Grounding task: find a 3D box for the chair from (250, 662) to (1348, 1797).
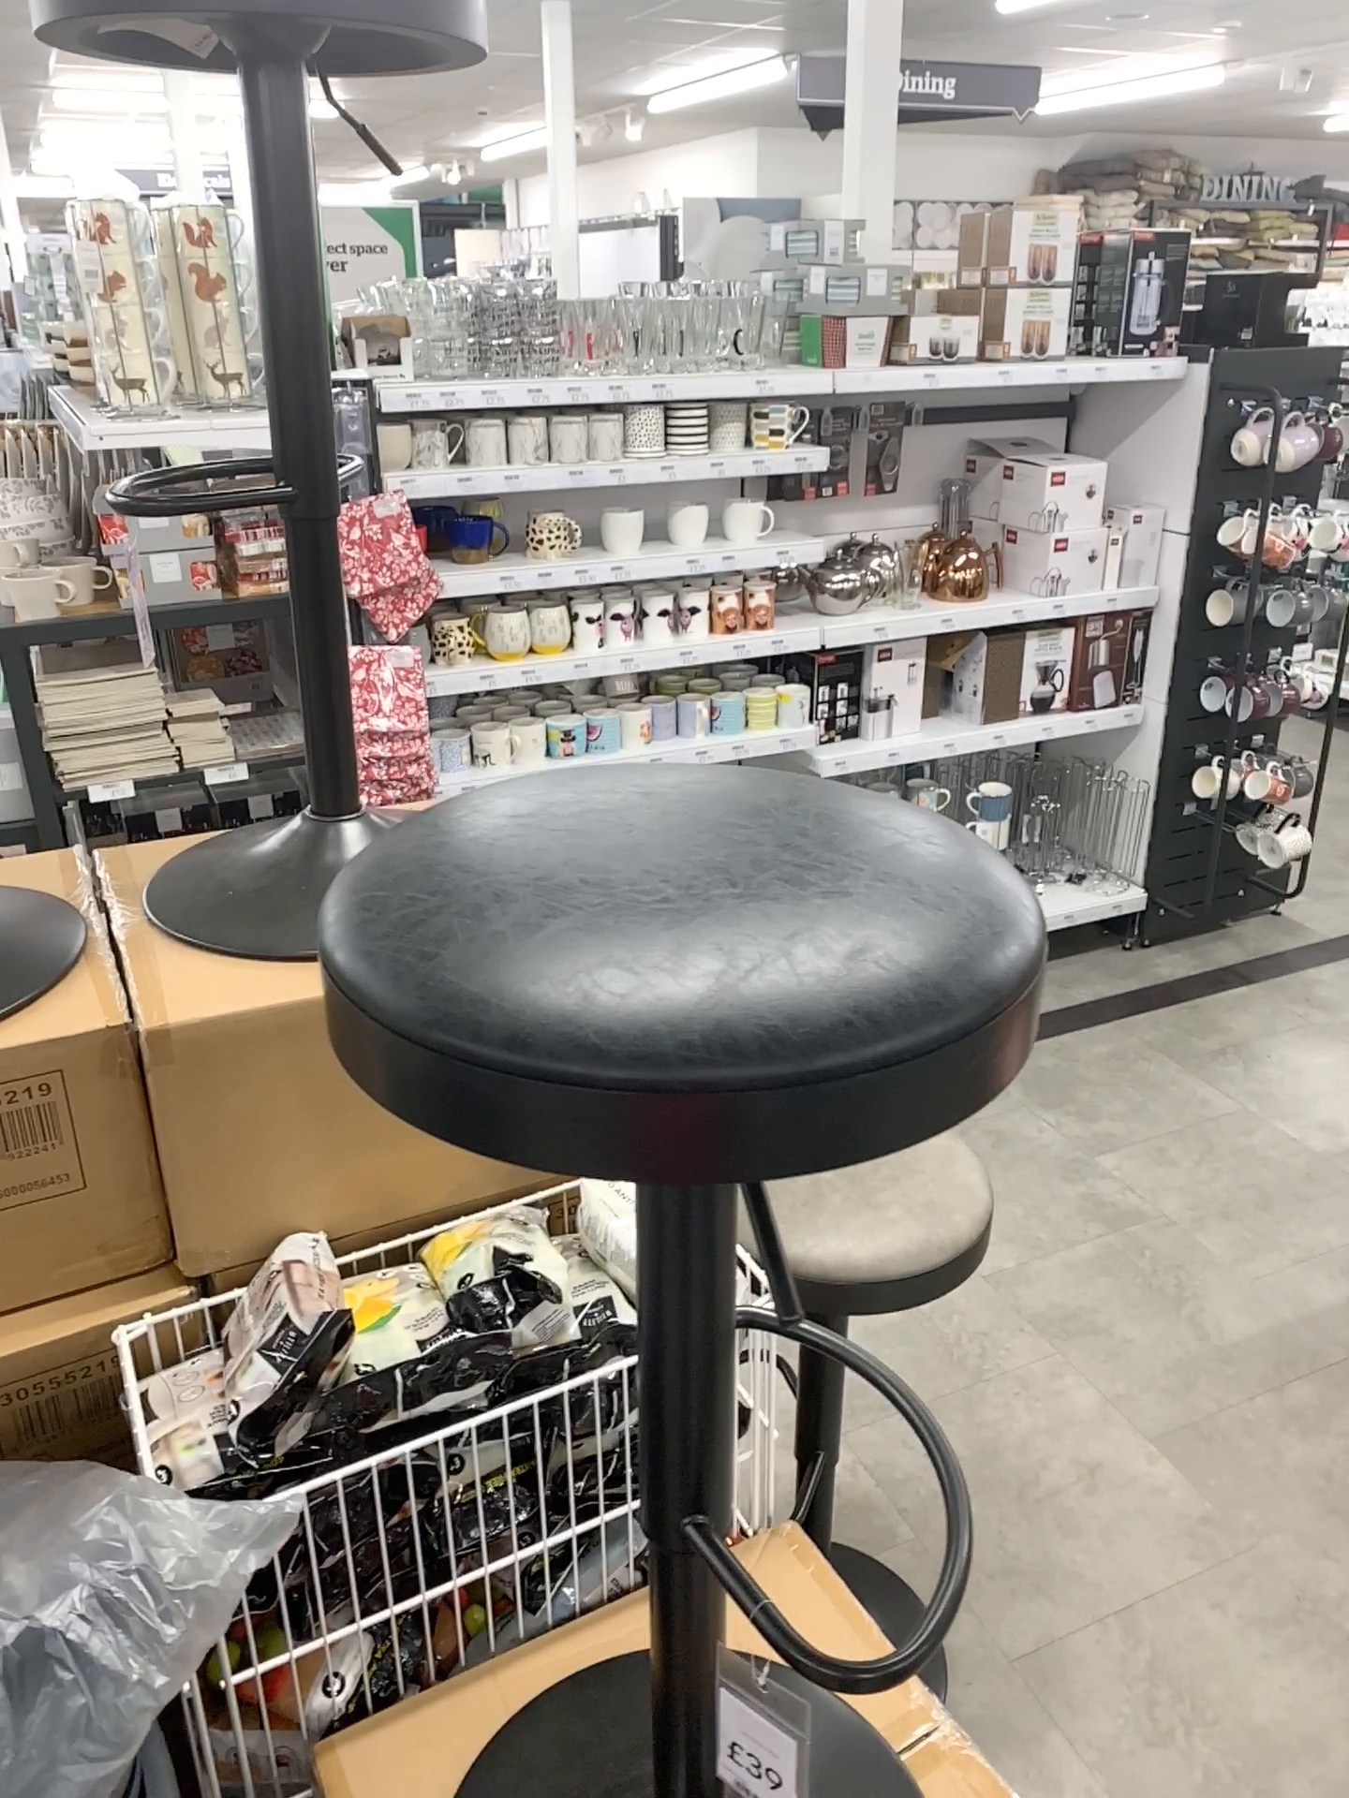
[{"bbox_3d":[0.058,0.326,0.773,0.408,0.794,0.399,-11,25,-24],"label":"chair"}]
